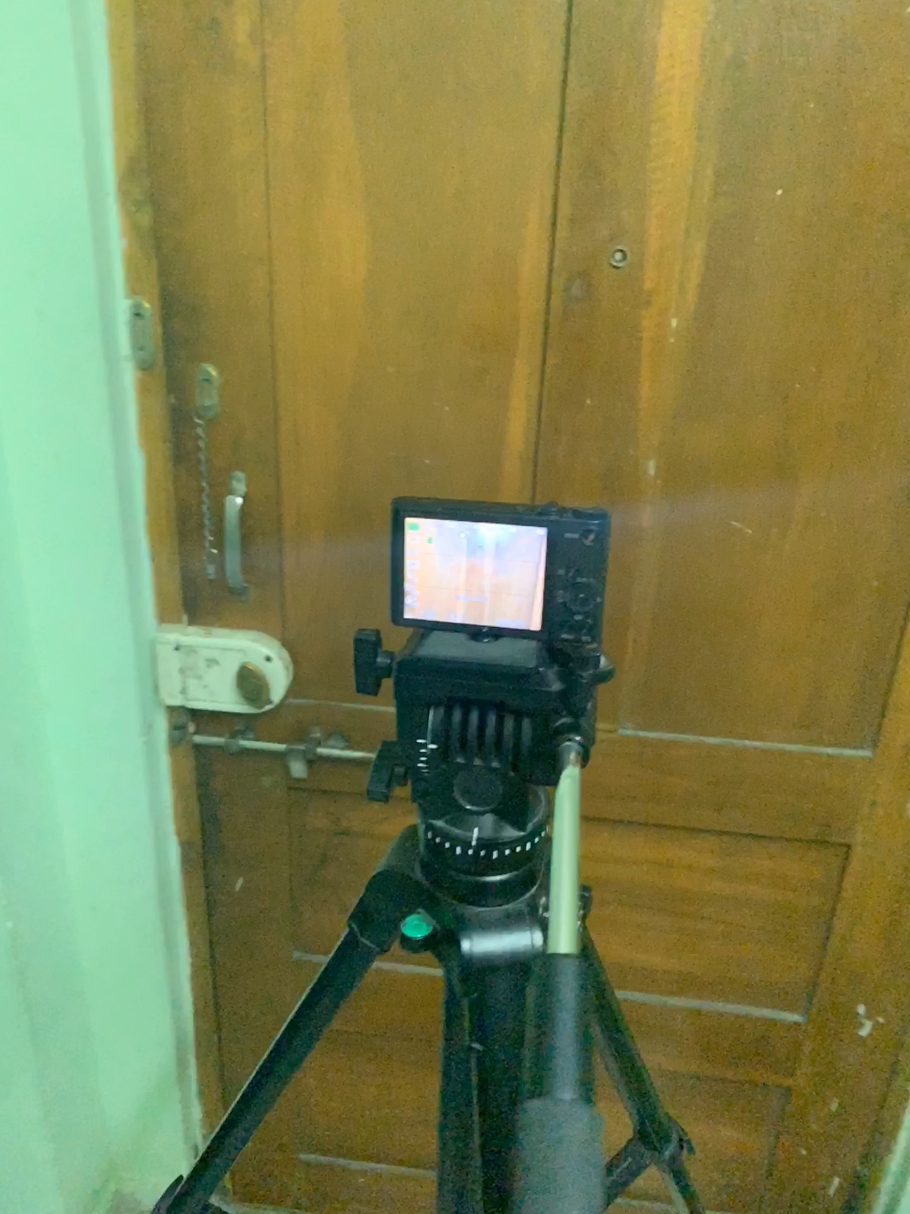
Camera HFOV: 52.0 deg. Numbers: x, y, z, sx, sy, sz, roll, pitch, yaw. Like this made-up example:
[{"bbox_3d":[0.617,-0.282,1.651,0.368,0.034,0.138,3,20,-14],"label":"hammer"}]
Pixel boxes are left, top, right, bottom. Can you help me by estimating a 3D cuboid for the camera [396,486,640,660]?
[{"bbox_3d":[0.028,-0.017,0.417,0.100,0.060,0.040,6,17,9],"label":"camera"}]
